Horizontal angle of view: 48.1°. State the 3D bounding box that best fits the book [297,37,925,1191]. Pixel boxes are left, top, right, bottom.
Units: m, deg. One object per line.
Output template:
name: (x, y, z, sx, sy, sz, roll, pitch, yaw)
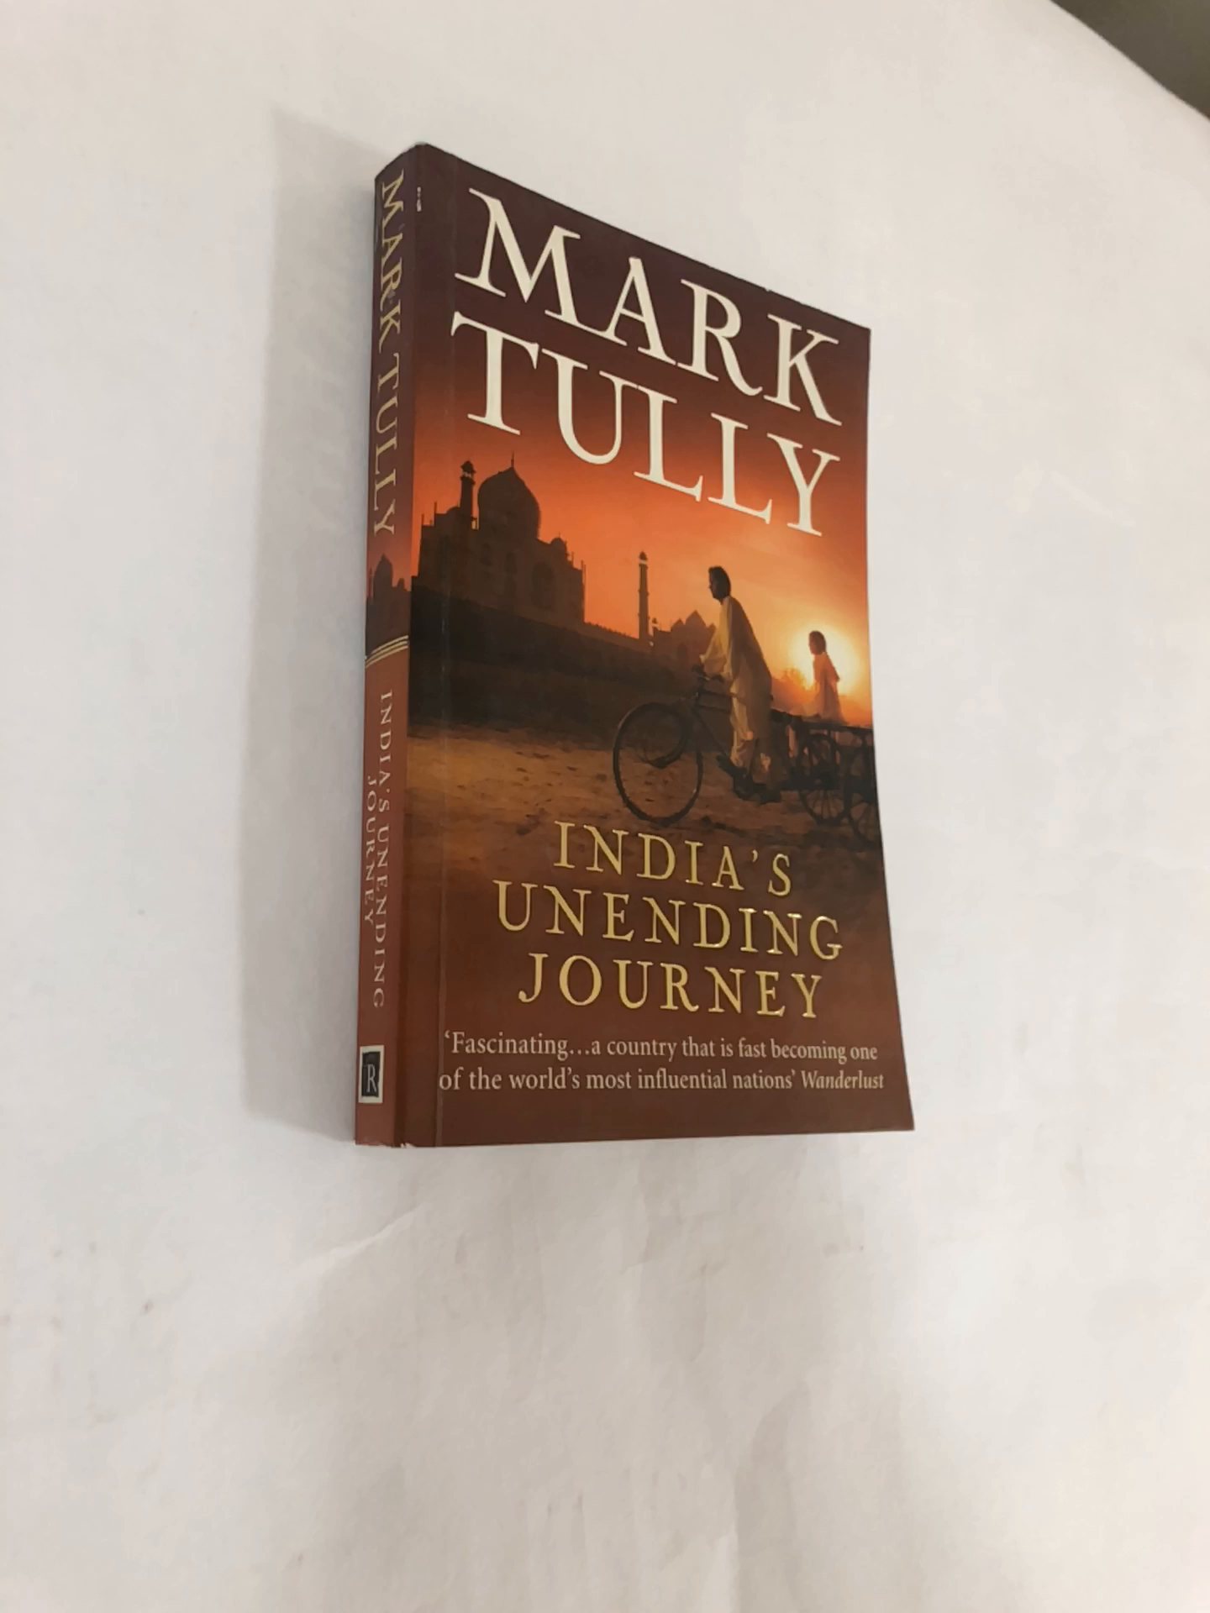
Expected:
book: (0.006, -0.032, 0.284, 0.130, 0.030, 0.210, 9, 74, -37)
